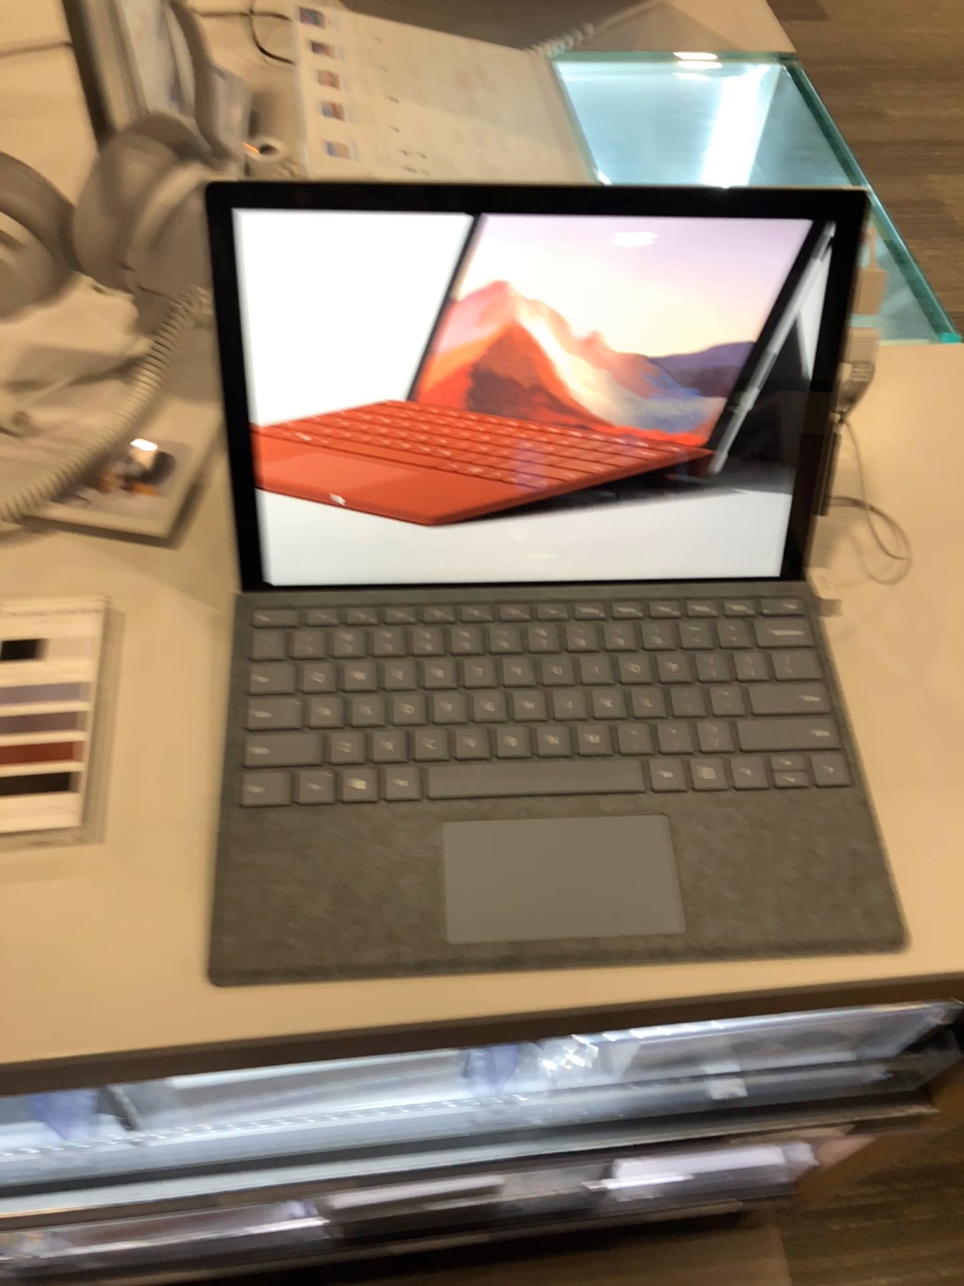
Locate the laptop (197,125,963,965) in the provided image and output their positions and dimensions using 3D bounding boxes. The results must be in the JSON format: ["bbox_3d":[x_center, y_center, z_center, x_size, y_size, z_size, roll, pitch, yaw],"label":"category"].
[{"bbox_3d":[0.048,-0.046,0.433,0.261,0.143,0.284,-1,58,0],"label":"laptop"}]
